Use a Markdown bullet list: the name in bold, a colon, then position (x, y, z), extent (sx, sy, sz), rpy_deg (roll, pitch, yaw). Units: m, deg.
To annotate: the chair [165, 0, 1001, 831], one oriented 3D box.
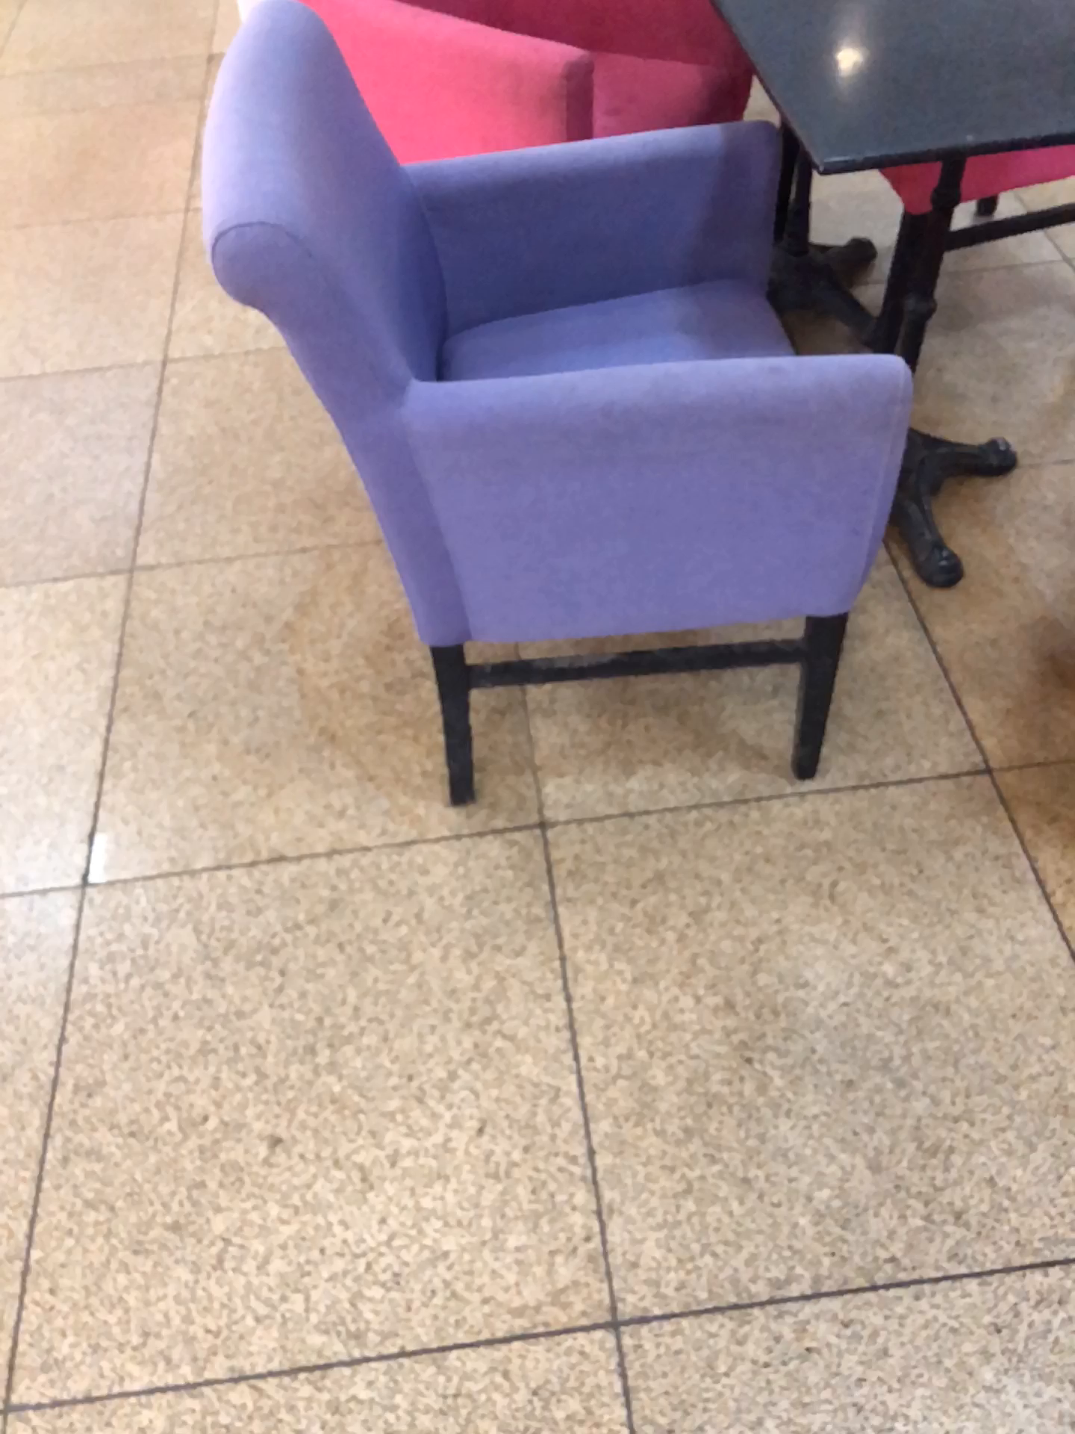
- **chair**: position (0.034, -0.359, 1.432), extent (0.660, 0.817, 0.572), rpy_deg (-5, 50, -1)
